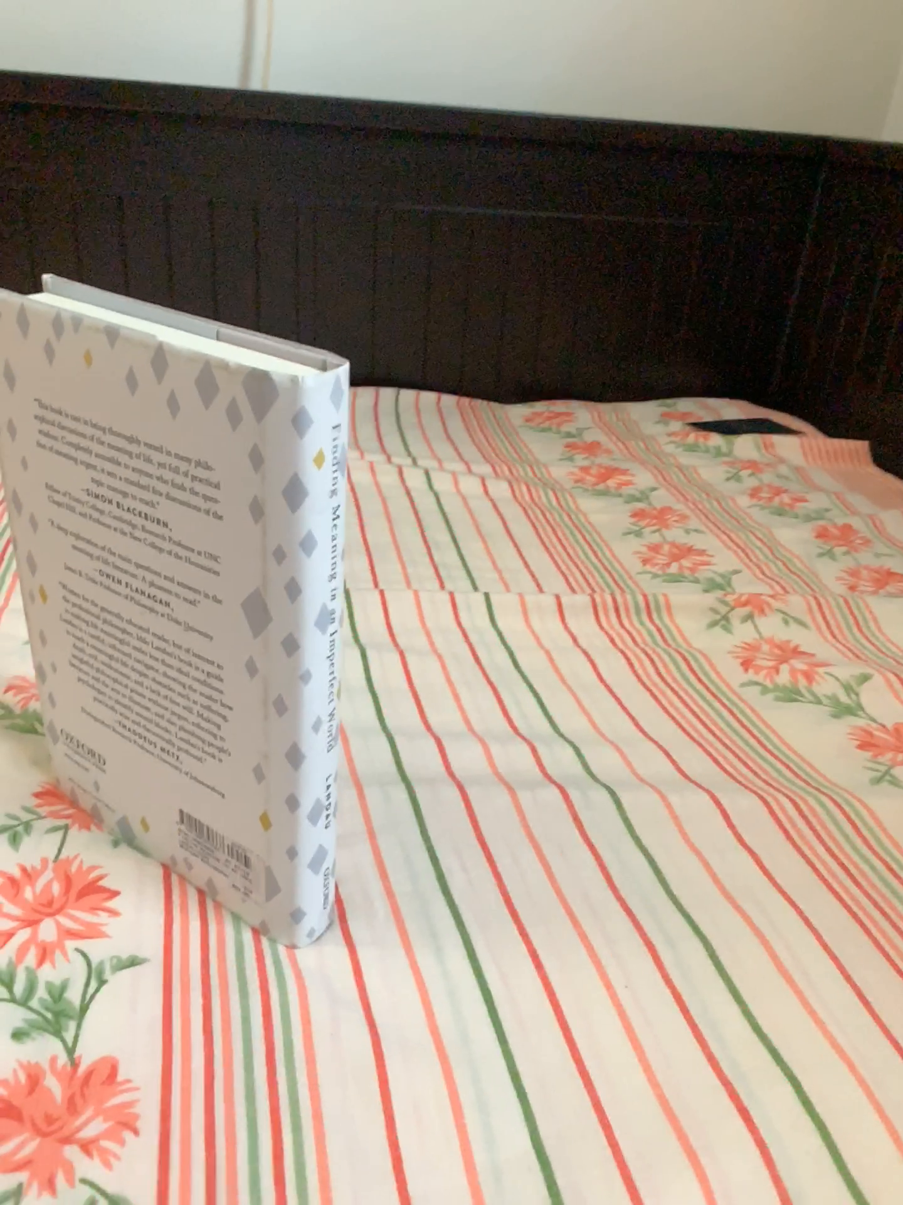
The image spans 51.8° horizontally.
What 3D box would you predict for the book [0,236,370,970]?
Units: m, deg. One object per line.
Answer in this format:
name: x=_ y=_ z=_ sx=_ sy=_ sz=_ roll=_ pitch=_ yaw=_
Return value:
book: x=-0.102 y=0.001 z=0.324 sx=0.160 sy=0.218 sz=0.030 roll=22 pitch=33 yaw=29
